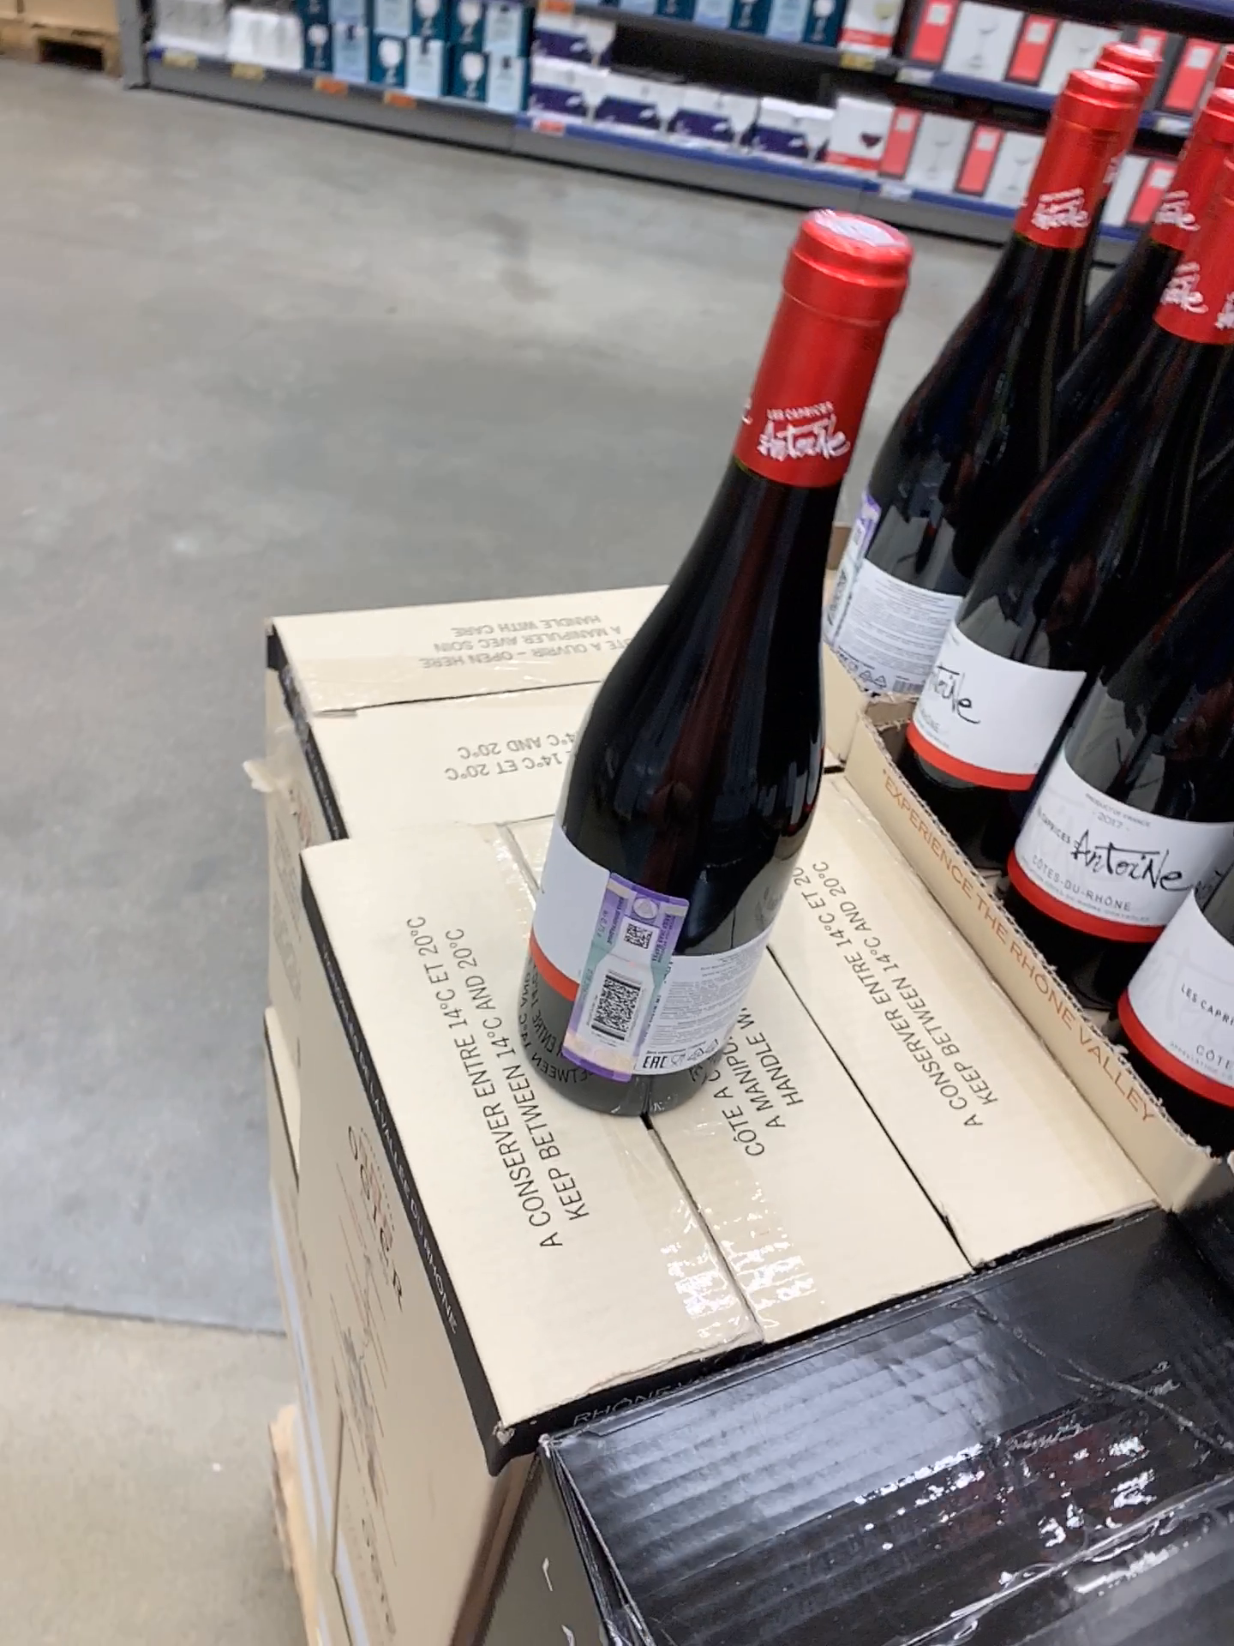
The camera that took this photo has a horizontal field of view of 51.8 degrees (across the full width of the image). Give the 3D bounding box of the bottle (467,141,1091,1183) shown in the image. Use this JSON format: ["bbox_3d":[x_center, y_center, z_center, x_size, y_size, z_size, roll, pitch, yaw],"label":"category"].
[{"bbox_3d":[0.030,-0.027,0.389,0.090,0.298,0.090,7,42,-6],"label":"bottle"}]
